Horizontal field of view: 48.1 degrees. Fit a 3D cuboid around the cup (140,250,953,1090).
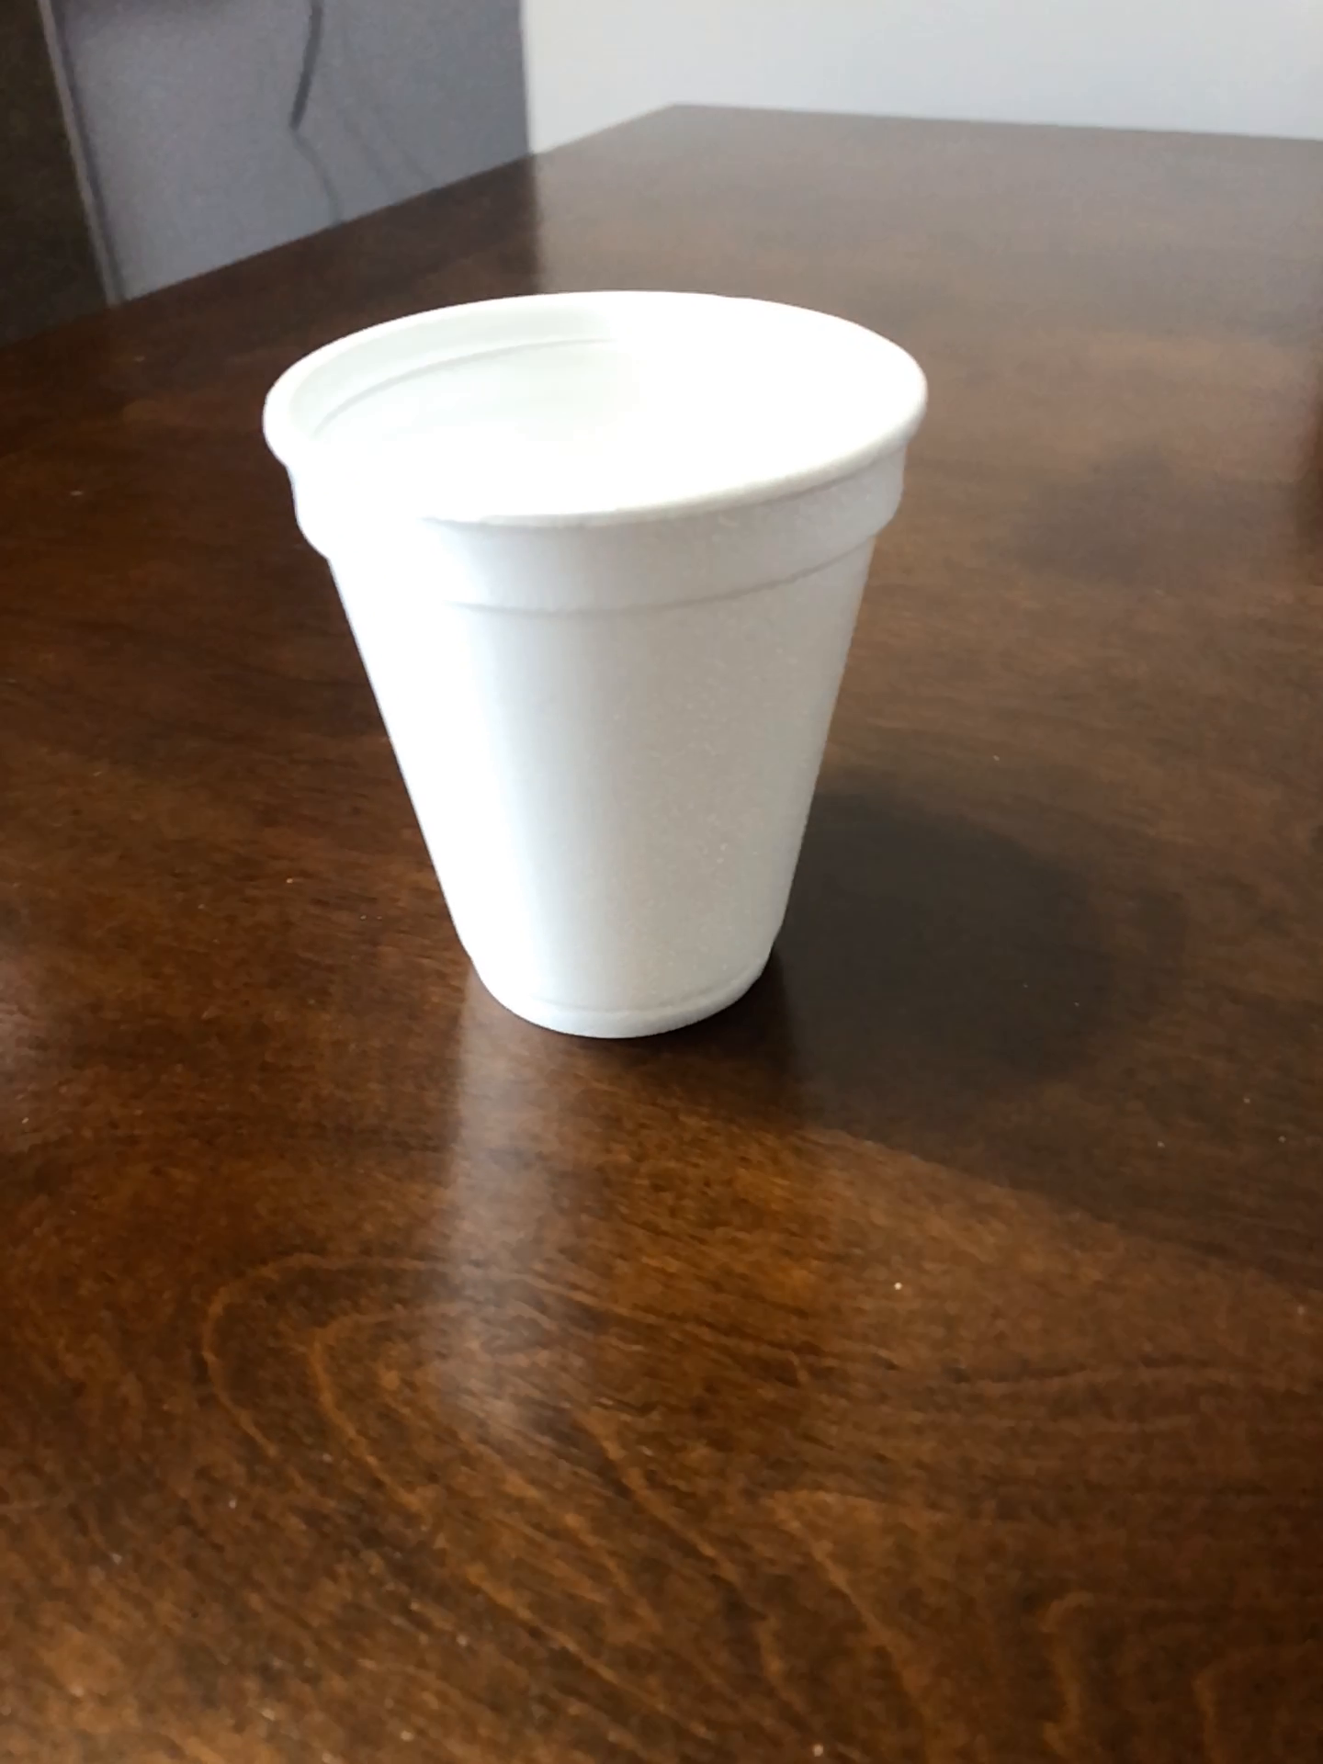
[{"bbox_3d":[-0.006,-0.032,0.198,0.080,0.080,0.080,-1,36,1],"label":"cup"}]
